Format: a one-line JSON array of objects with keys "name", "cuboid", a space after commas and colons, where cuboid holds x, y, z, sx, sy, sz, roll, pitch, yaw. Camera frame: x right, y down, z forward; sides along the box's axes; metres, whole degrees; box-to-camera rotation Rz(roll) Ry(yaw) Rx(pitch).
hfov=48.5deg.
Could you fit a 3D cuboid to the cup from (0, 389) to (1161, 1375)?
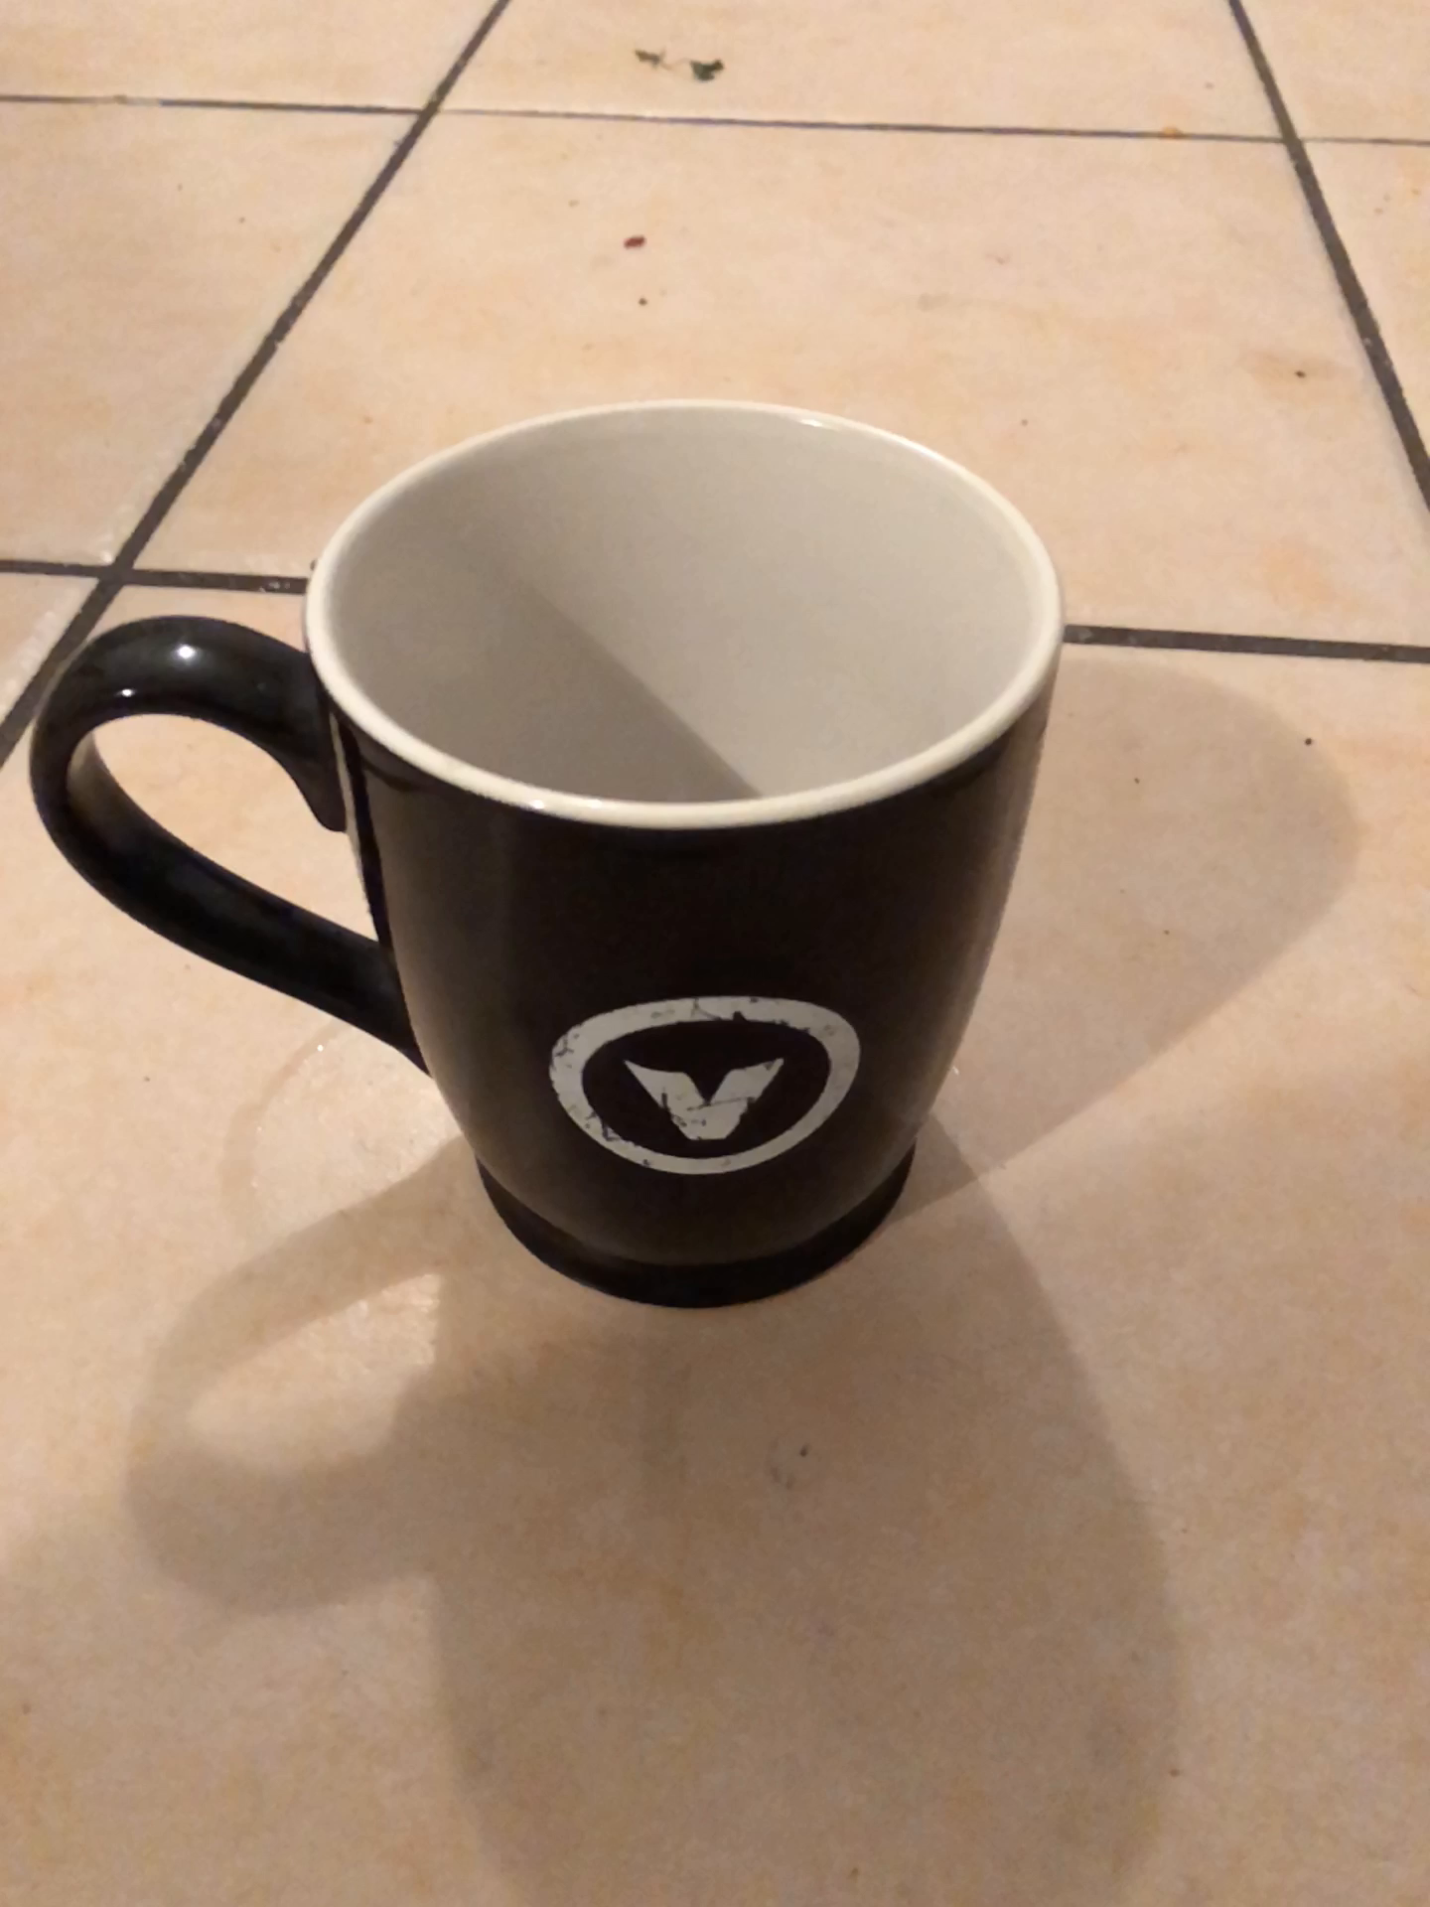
[{"name": "cup", "cuboid": [-0.024, -0.011, 0.231, 0.140, 0.100, 0.101, 1, 45, 1]}]
